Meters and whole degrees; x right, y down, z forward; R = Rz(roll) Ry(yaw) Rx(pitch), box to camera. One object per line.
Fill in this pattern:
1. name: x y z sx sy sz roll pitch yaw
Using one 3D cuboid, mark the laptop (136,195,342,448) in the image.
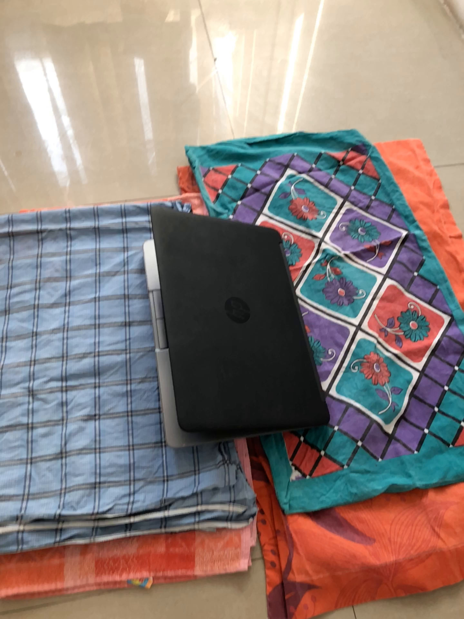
1. laptop: -0.001 0.006 0.716 0.212 0.099 0.322 -6 65 -13
